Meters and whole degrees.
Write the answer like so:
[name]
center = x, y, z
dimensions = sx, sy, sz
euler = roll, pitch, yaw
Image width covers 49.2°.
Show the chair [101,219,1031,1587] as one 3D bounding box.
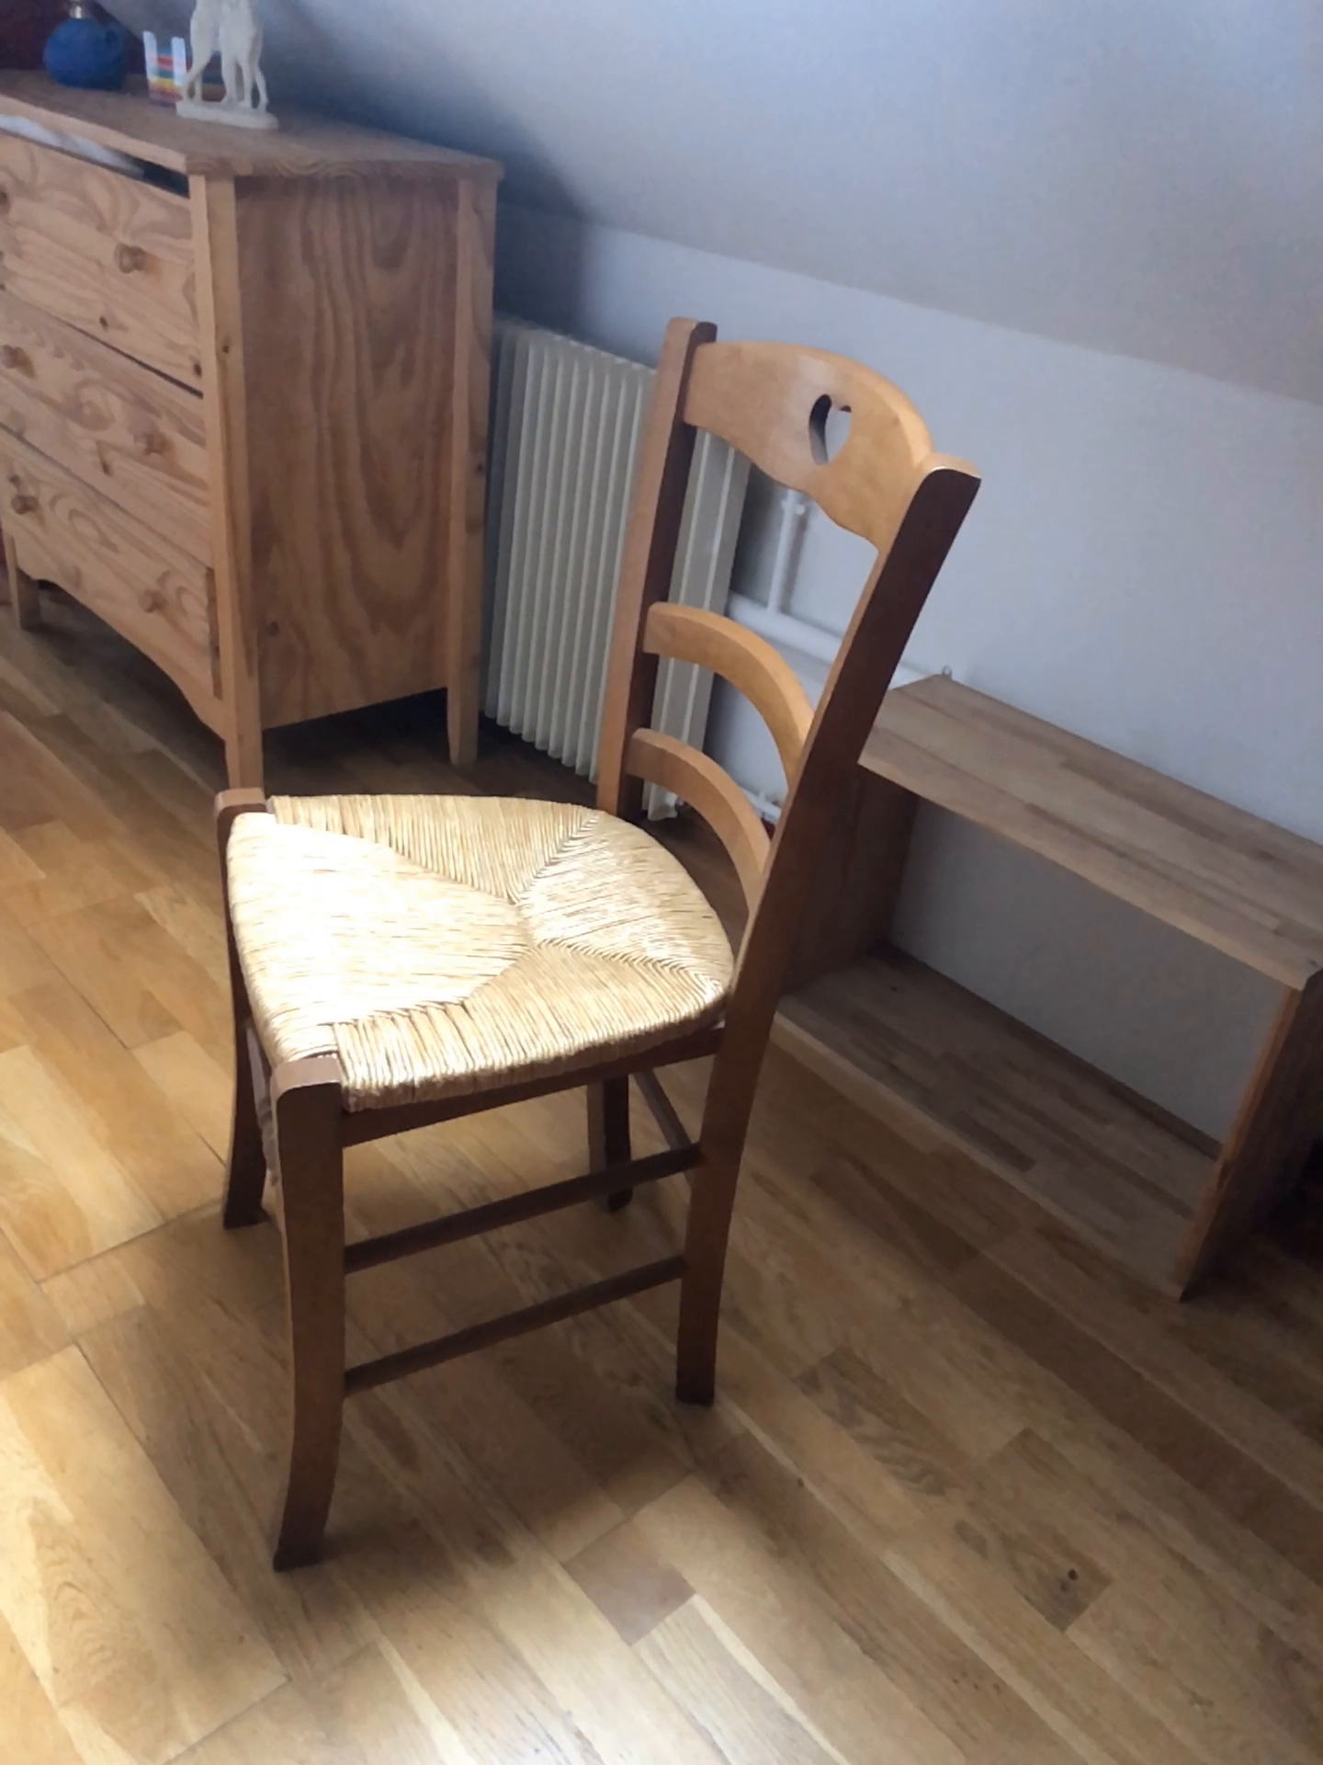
[chair]
center = -0.138, 0.004, 1.048
dimensions = 0.434, 0.792, 0.460
euler = -5, 32, -21
